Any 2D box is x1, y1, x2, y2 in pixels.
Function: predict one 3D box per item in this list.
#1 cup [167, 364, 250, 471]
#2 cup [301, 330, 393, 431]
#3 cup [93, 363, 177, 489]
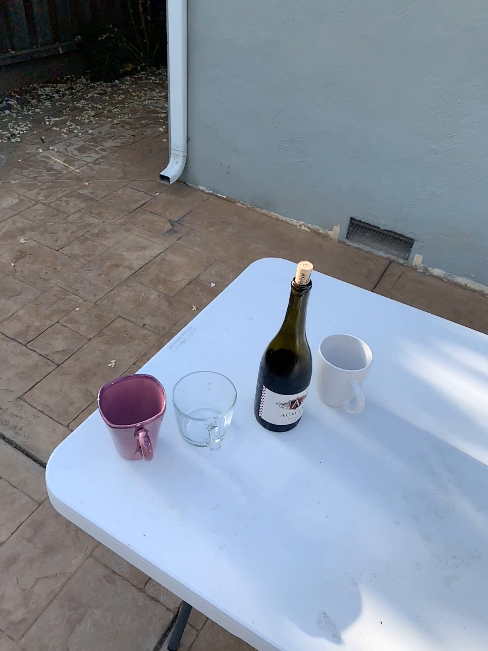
[{"bbox_3d":[-0.061,0.143,0.795,0.100,0.080,0.131,-8,43,-16],"label":"cup"},{"bbox_3d":[0.167,0.089,0.836,0.090,0.099,0.121,-8,42,-16],"label":"cup"},{"bbox_3d":[-0.164,0.148,0.751,0.100,0.109,0.131,-8,42,-16],"label":"cup"}]
